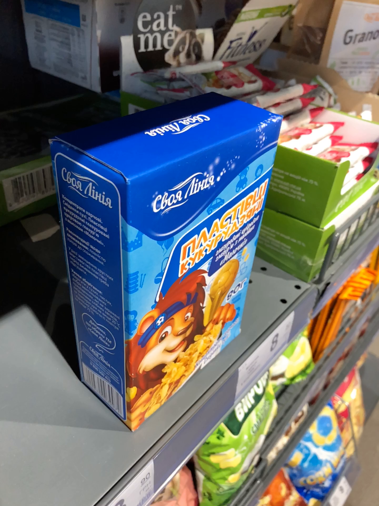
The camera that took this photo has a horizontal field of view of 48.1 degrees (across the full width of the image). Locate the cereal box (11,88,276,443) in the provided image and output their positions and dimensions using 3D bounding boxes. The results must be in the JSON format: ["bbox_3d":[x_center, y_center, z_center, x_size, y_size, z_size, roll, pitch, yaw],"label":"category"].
[{"bbox_3d":[-0.021,0.005,0.254,0.060,0.169,0.121,29,42,29],"label":"cereal box"}]
